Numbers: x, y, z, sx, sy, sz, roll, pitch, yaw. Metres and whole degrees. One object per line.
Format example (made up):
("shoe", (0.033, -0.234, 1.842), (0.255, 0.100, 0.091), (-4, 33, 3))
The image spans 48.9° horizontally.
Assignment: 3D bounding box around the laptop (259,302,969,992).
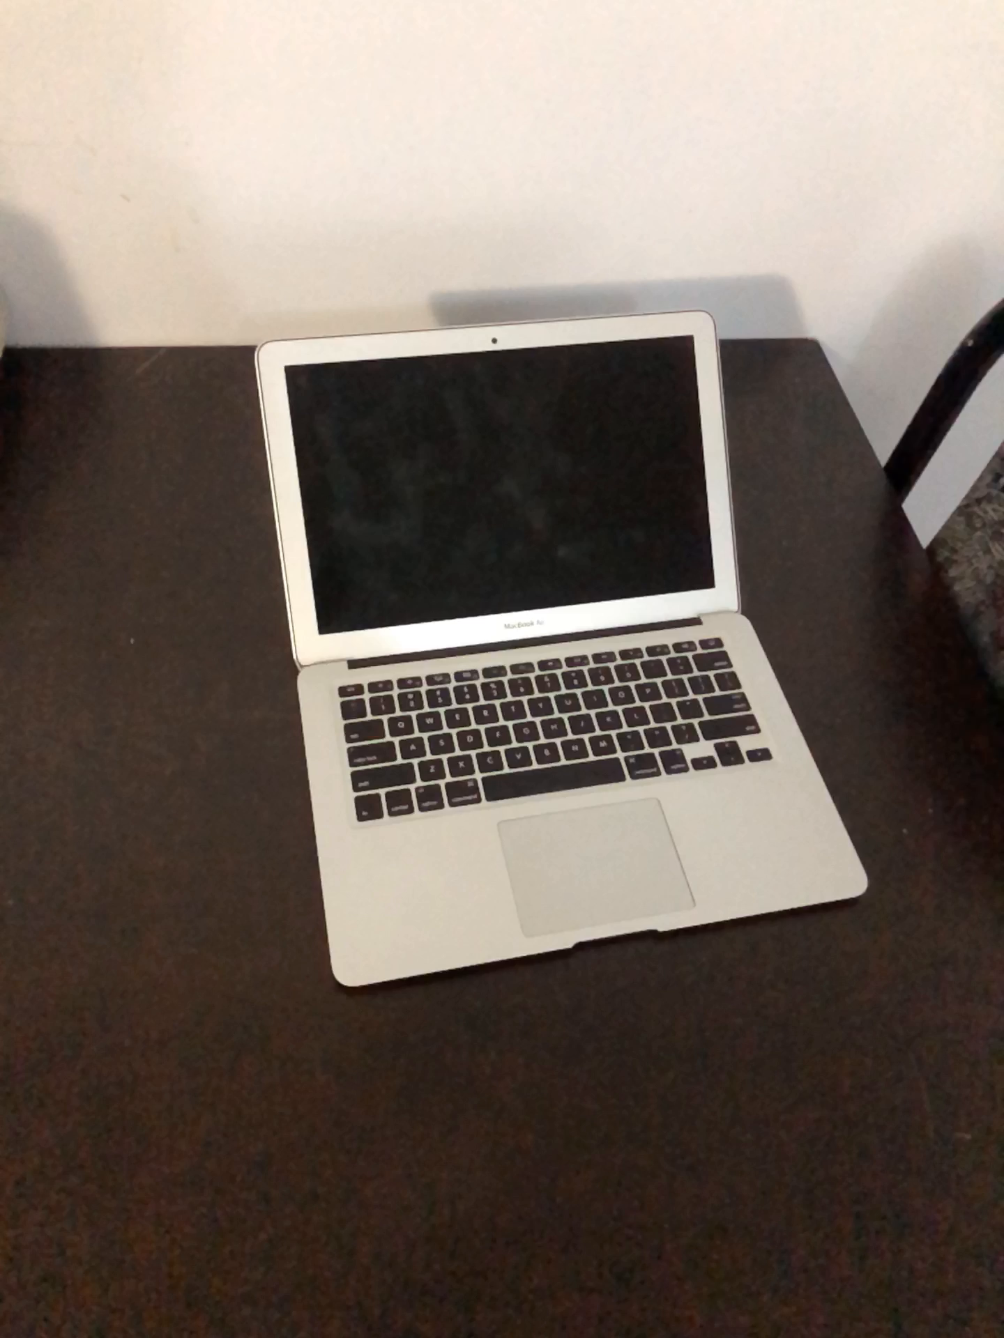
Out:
("laptop", (0.030, -0.040, 0.649), (0.303, 0.136, 0.362), (-7, 52, -10))
